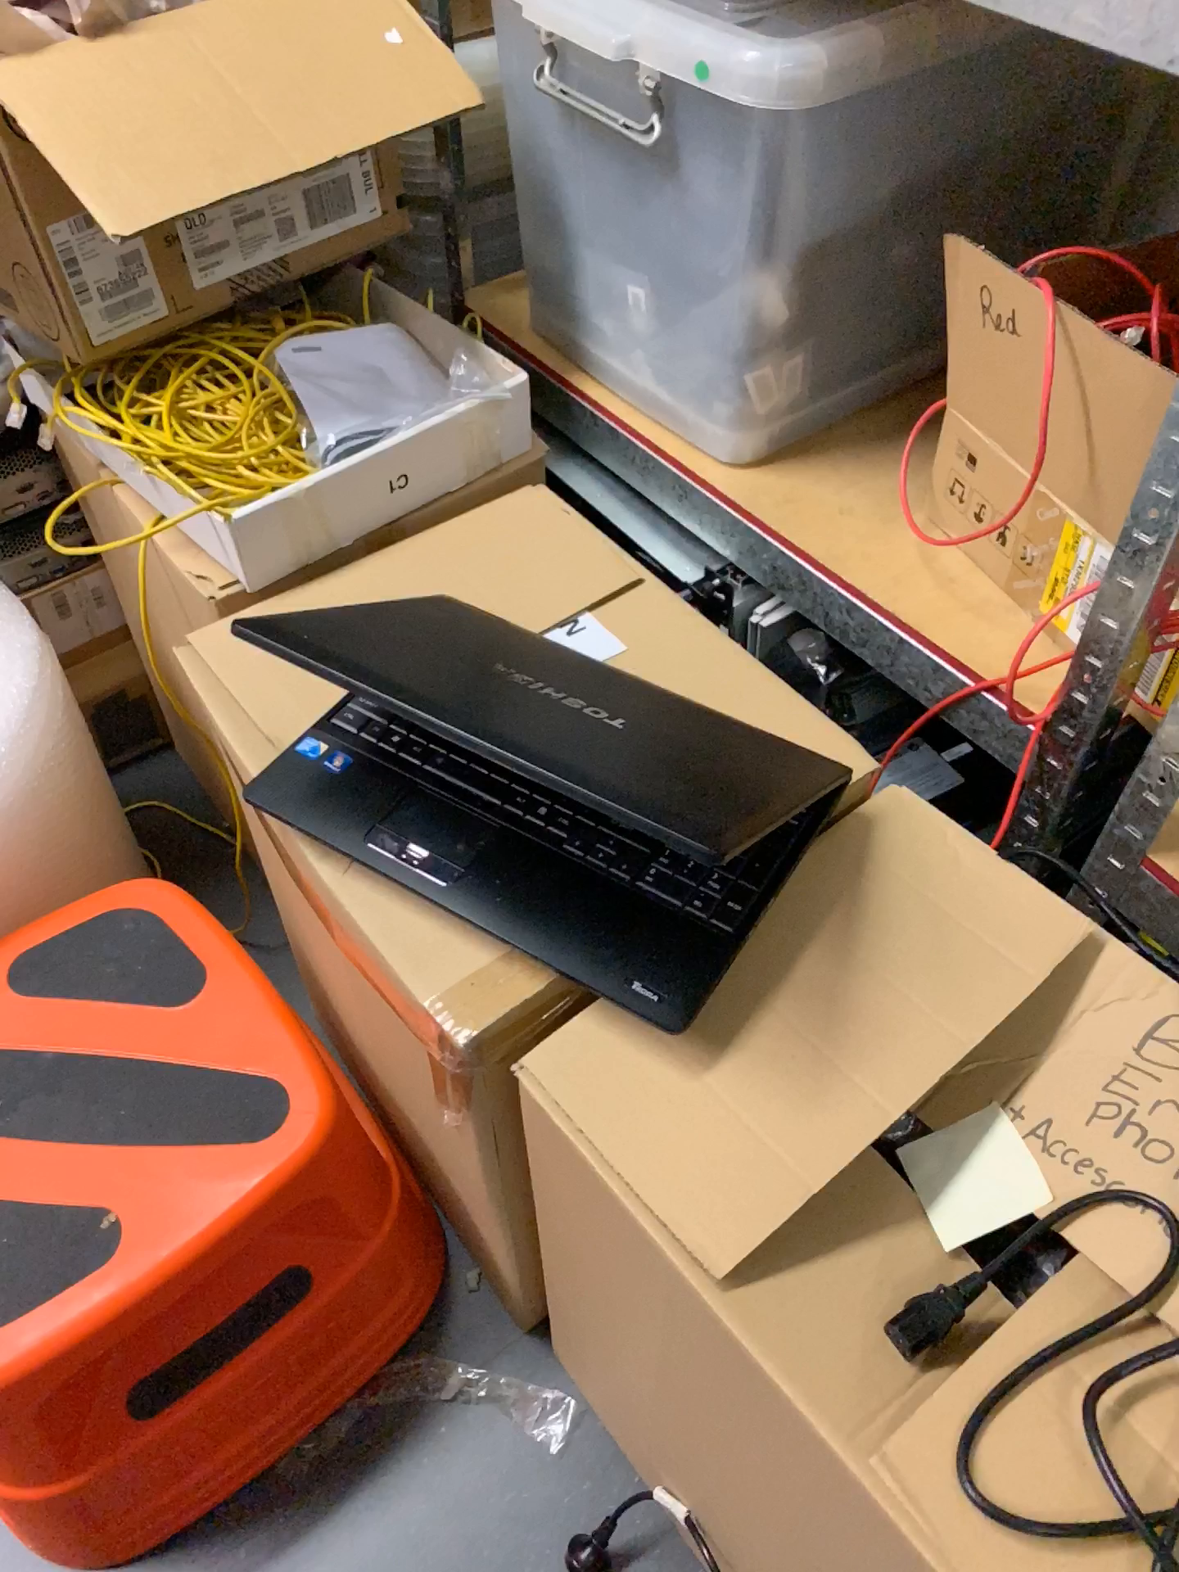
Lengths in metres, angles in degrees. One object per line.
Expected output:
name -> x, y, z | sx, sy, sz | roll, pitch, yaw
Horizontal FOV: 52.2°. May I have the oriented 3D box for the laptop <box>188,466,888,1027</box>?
laptop -> -0.032, -0.041, 0.801 | 0.355, 0.135, 0.231 | 25, 56, 20
